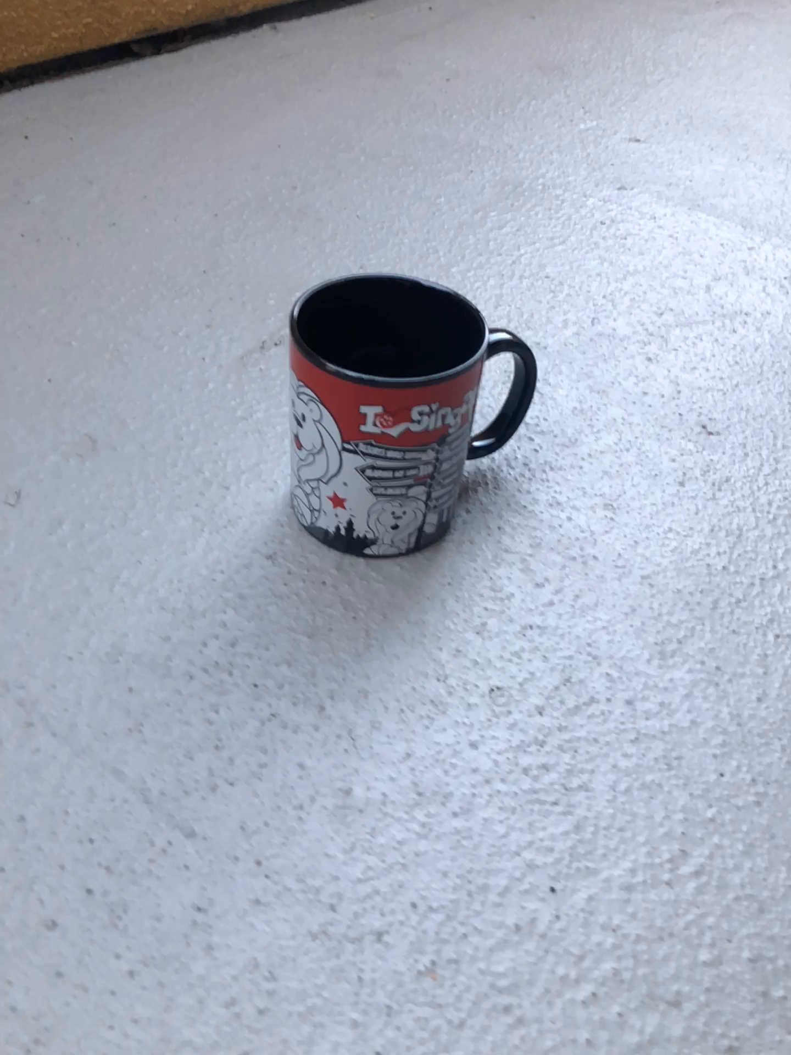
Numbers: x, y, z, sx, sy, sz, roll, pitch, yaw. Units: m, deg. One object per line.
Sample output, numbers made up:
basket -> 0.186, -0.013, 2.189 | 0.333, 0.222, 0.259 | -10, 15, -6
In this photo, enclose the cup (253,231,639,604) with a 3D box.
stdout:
cup -> 0.015, -0.051, 0.380 | 0.130, 0.109, 0.080 | -17, 49, -24
